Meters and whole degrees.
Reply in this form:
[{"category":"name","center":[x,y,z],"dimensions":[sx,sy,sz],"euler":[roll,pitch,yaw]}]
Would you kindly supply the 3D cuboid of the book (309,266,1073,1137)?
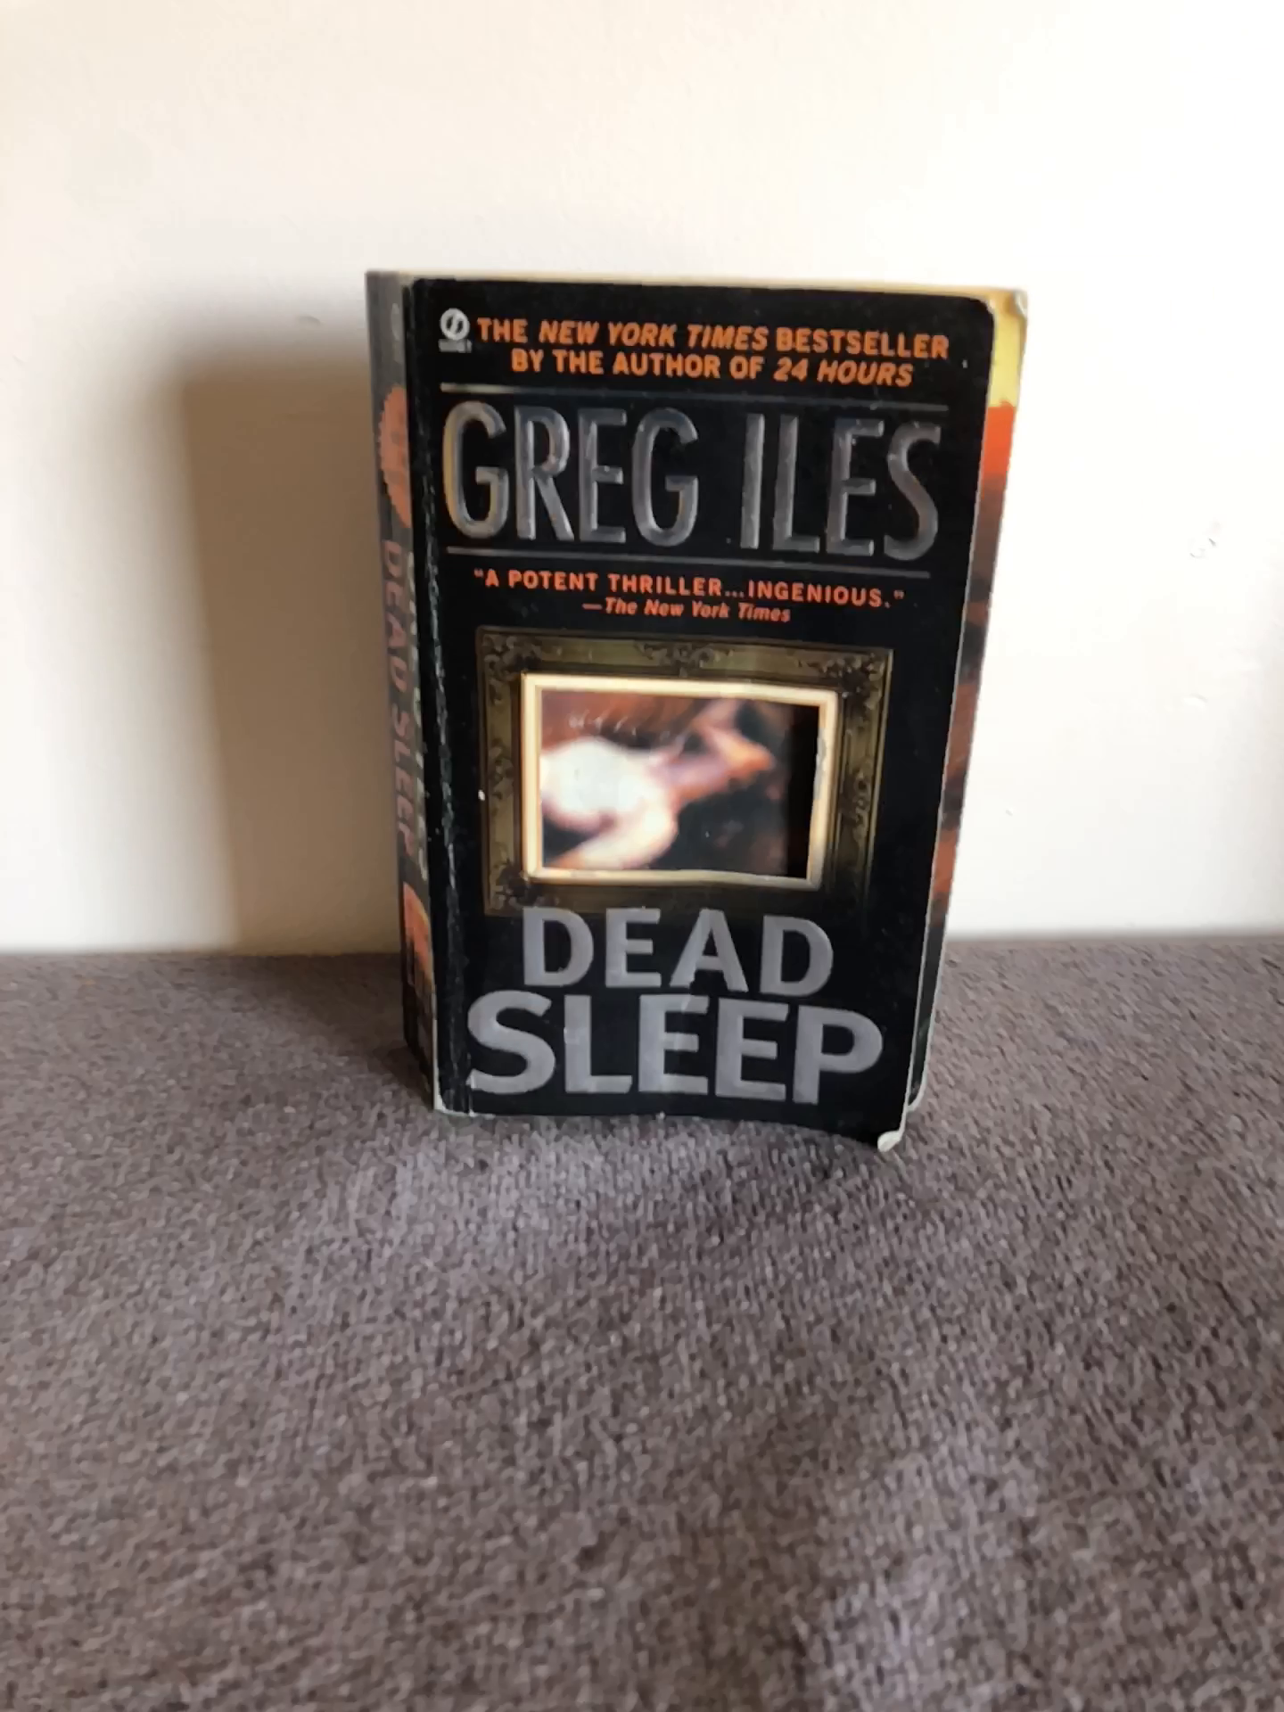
[{"category":"book","center":[0.007,-0.030,0.288],"dimensions":[0.123,0.163,0.061],"euler":[0,23,-1]}]
